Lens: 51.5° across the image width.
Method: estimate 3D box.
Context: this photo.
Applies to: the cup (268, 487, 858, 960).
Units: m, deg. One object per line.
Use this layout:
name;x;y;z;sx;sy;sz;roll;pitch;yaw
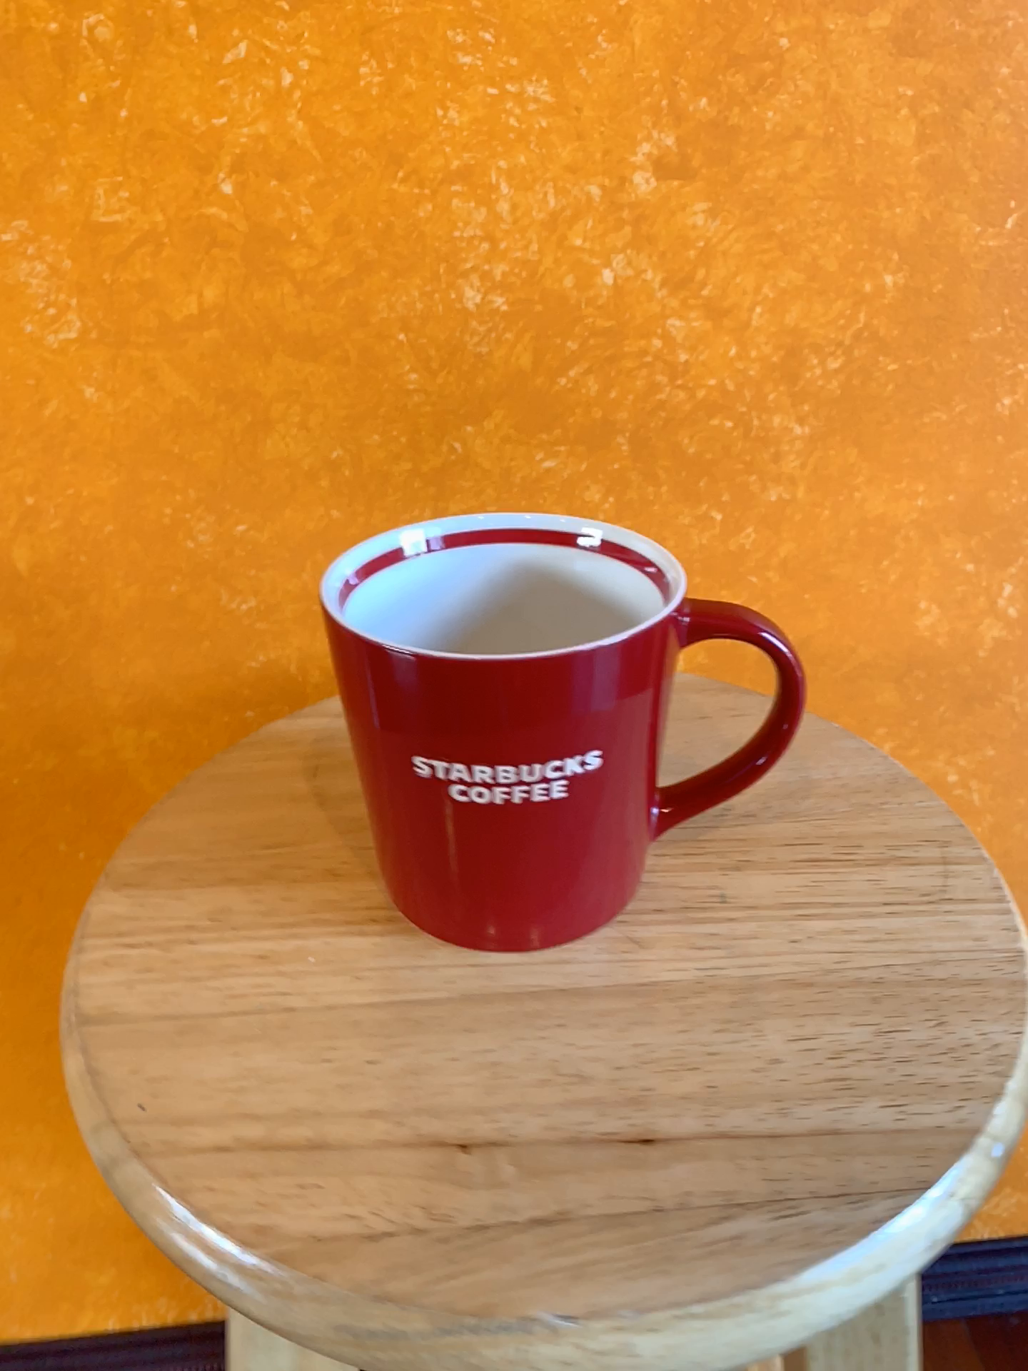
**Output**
cup;0.012;0.007;0.320;0.140;0.099;0.101;-2;29;-1
